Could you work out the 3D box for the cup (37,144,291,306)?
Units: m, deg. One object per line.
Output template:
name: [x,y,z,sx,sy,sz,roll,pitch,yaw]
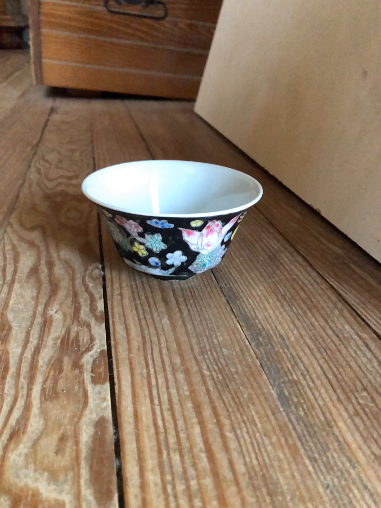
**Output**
cup: [-0.015,-0.028,0.258,0.110,0.040,0.101,2,29,-1]
